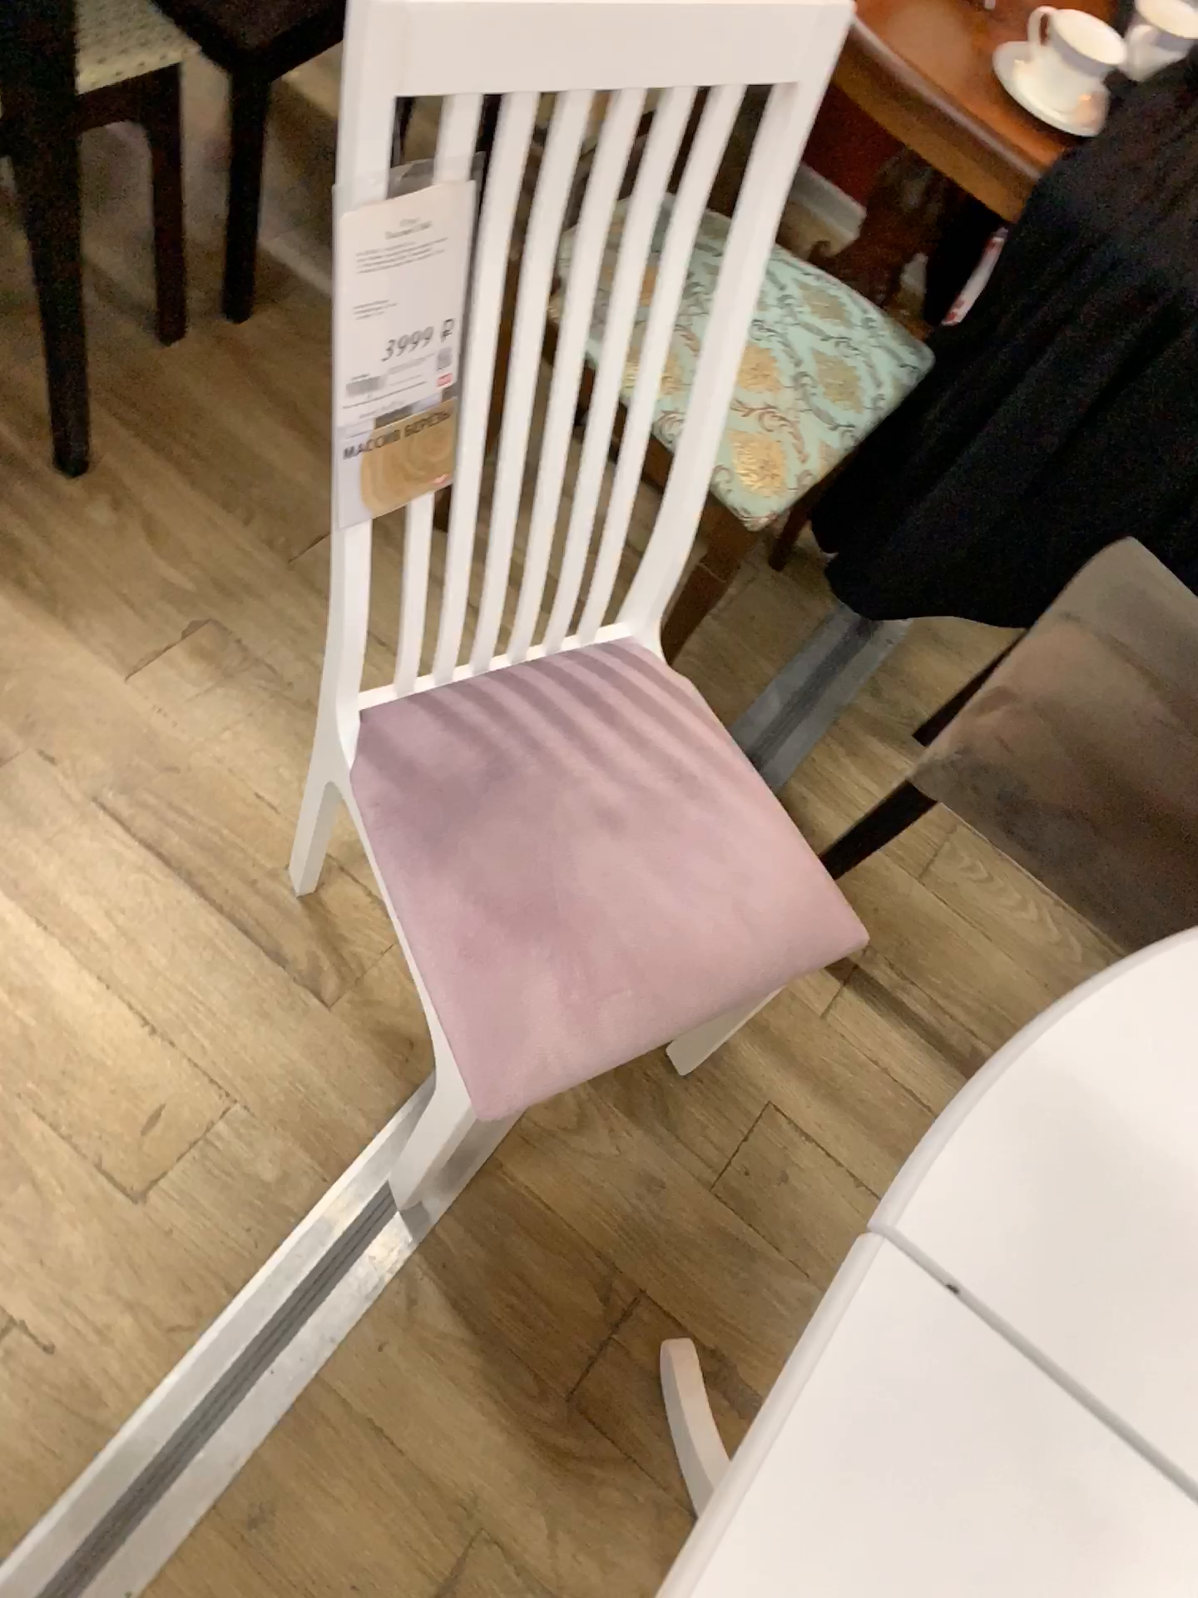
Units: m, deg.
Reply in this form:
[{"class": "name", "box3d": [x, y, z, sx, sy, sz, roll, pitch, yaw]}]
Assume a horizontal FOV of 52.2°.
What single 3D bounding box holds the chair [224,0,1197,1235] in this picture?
[{"class": "chair", "box3d": [0.002, -0.050, 1.080, 0.441, 1.004, 0.521, -19, 70, -28]}]
